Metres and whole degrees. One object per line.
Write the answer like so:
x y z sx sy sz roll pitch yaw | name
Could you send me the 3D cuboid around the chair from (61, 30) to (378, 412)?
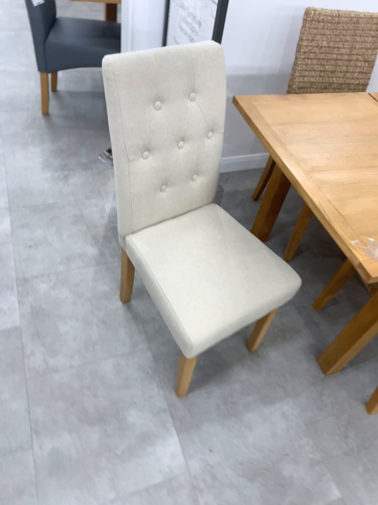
0.006 -0.064 1.198 0.480 0.897 0.613 -22 56 -27 | chair
